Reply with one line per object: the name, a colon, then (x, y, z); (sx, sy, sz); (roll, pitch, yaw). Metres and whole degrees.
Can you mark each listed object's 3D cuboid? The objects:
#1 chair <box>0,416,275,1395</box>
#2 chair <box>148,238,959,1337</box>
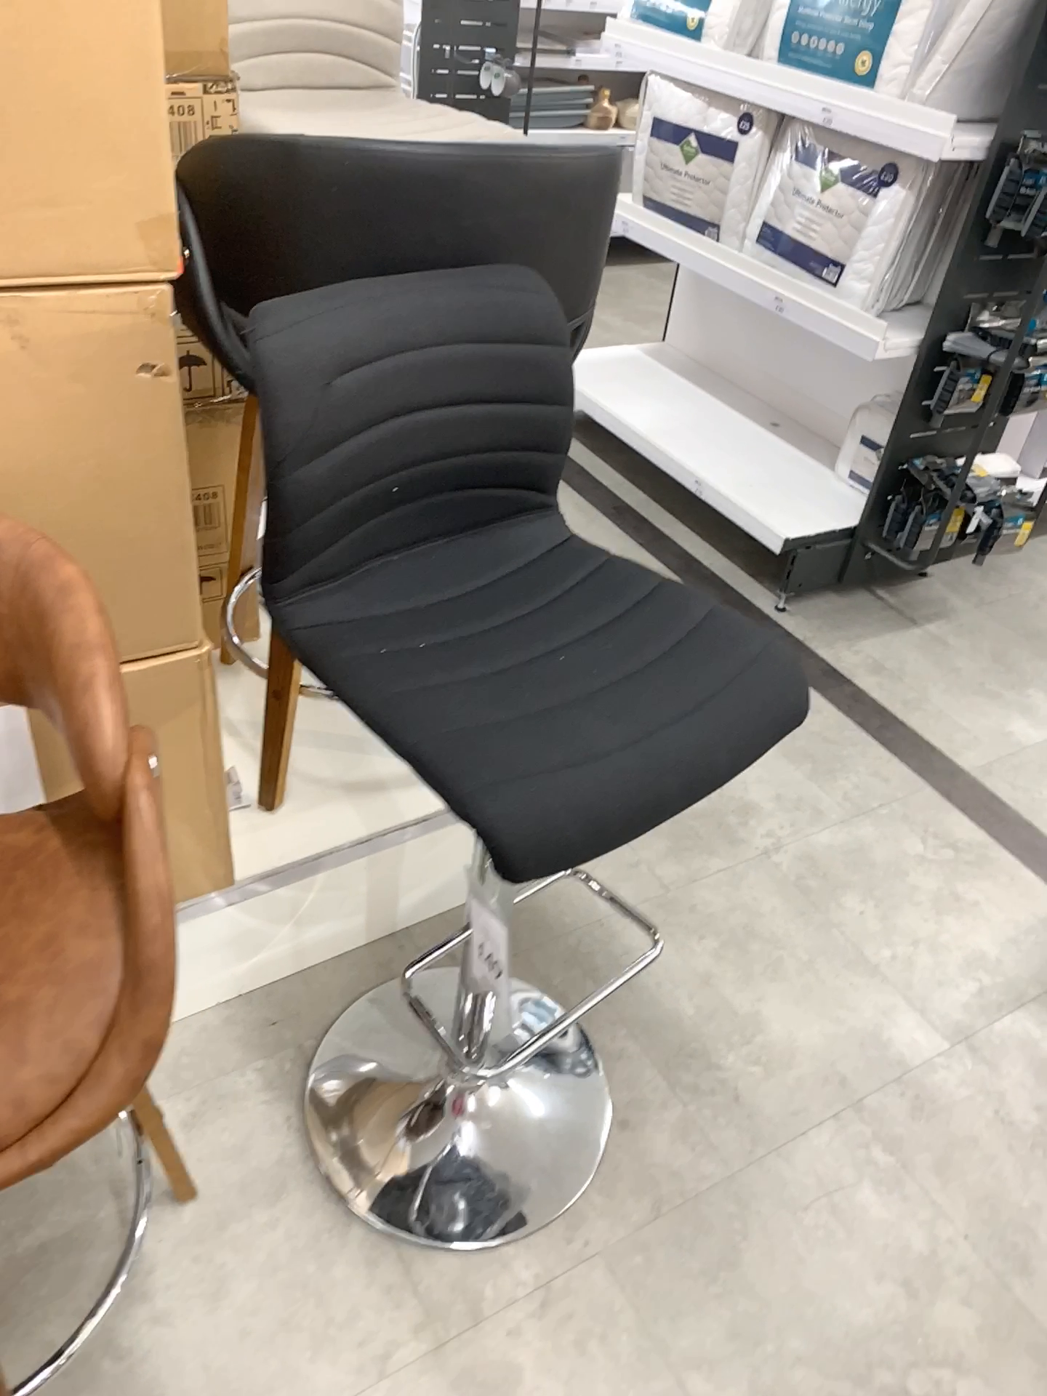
chair: (-0.528, 0.293, 0.902); (0.524, 0.875, 0.522); (-7, 39, -19)
chair: (-0.029, 0.114, 1.146); (0.456, 0.994, 0.470); (-25, 48, -37)
